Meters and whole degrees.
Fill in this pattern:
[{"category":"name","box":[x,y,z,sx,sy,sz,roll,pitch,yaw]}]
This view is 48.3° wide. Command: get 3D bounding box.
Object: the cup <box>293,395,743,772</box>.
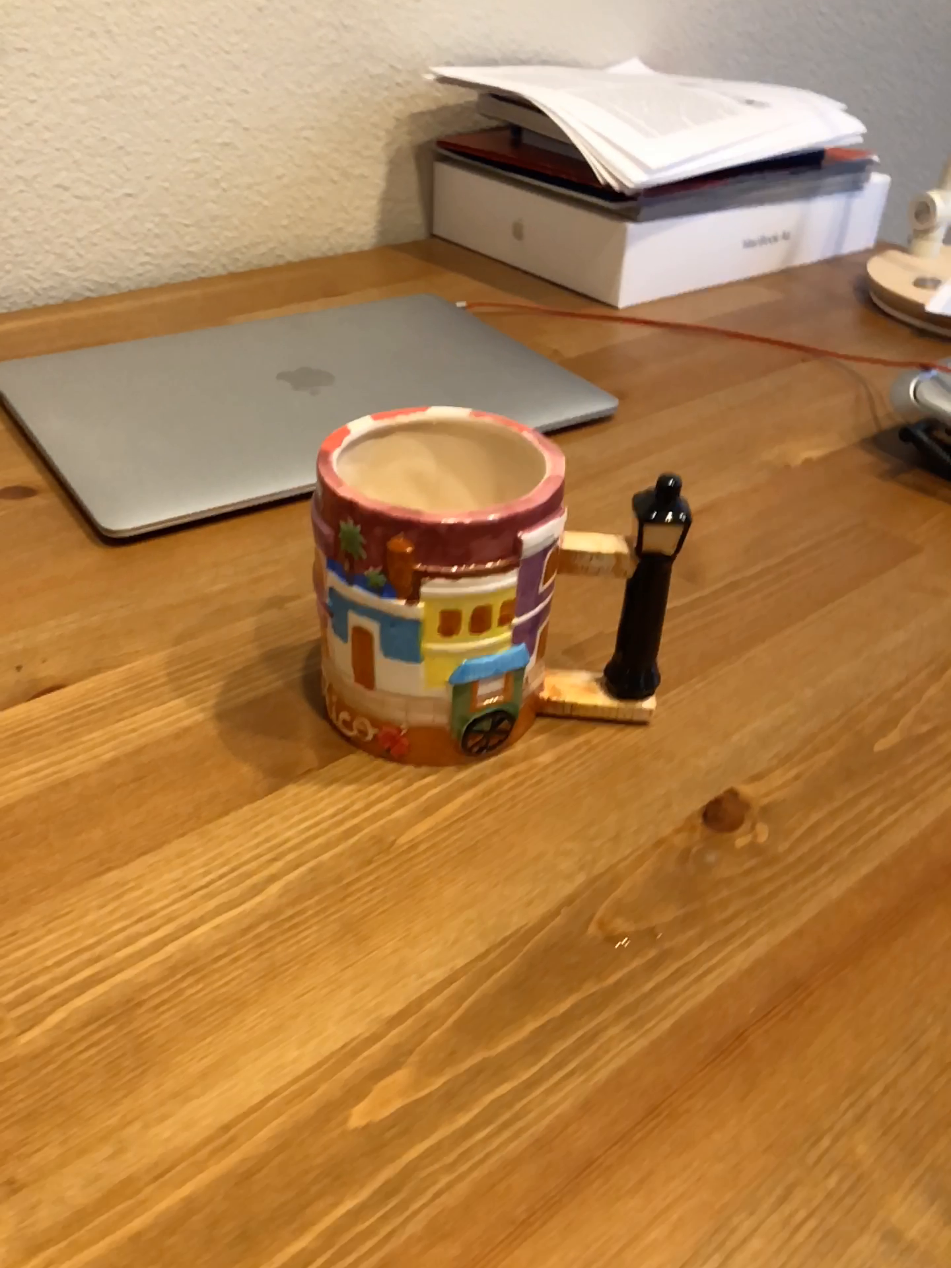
[{"category":"cup","box":[0.006,-0.021,0.364,0.130,0.090,0.090,-3,35,-8]}]
